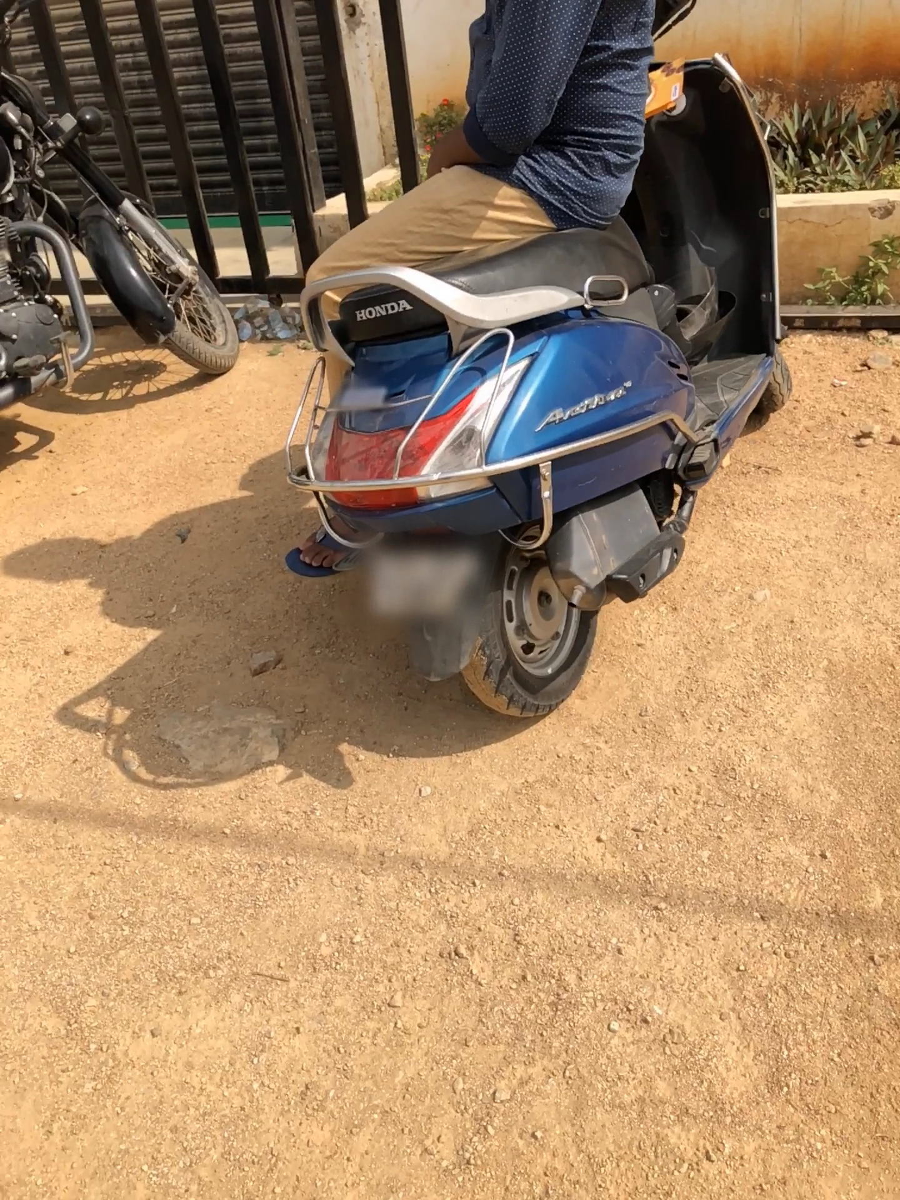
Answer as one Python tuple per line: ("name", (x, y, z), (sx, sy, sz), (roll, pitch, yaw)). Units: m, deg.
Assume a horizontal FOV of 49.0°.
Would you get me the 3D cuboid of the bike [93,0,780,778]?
("bike", (0.177, -0.688, 1.992), (0.621, 1.115, 1.559), (9, 38, 24))
